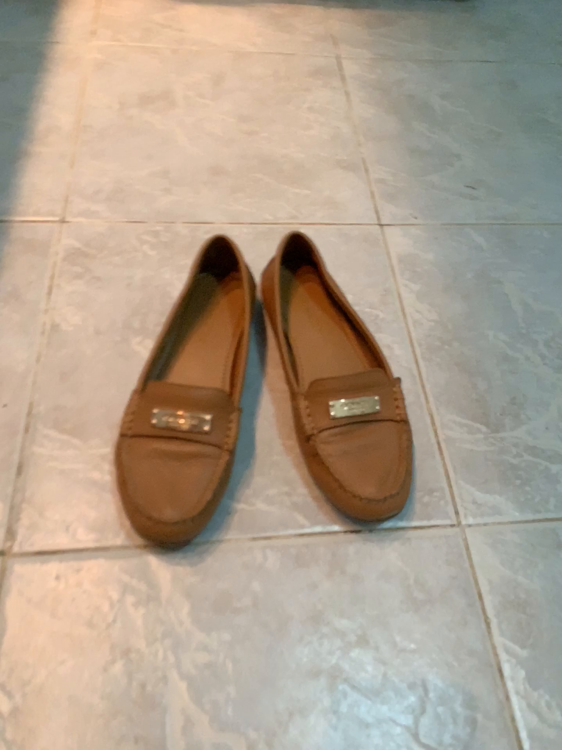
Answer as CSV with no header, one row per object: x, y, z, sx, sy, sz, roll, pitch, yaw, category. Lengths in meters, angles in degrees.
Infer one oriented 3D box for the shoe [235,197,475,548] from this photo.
0.036,-0.014,0.410,0.085,0.071,0.243,-11,59,-12,shoe

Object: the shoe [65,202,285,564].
-0.059,-0.006,0.399,0.083,0.071,0.244,10,57,1,shoe
